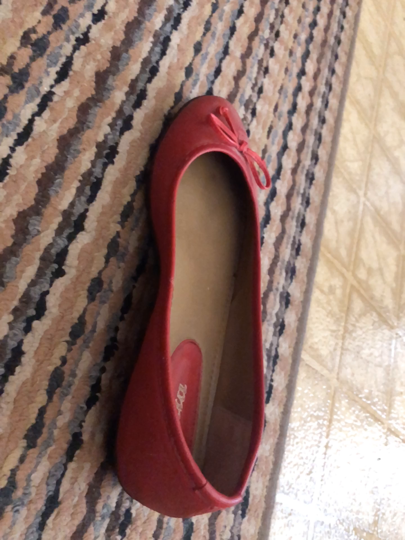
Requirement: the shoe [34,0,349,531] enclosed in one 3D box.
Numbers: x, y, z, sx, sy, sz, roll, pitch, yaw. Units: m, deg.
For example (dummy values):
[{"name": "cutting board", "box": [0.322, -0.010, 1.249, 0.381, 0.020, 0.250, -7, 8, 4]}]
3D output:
[{"name": "shoe", "box": [0.007, -0.005, 0.280, 0.101, 0.109, 0.270, 28, 63, -38]}]
